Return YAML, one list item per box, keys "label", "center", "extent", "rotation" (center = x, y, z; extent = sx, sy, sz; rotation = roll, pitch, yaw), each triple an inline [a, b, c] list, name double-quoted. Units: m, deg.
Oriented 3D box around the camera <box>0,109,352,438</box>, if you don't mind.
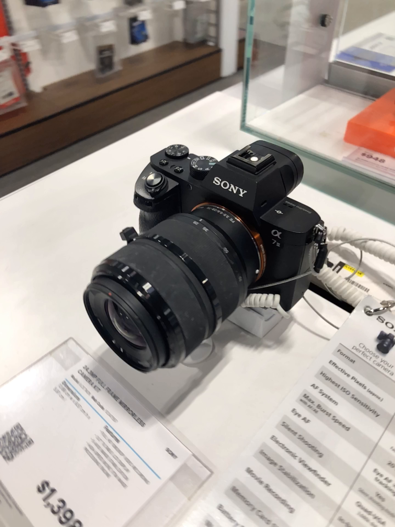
- label: "camera"
  center: [-0.009, -0.008, 0.264]
  extent: [0.130, 0.089, 0.140]
  rotation: [30, 52, 29]
